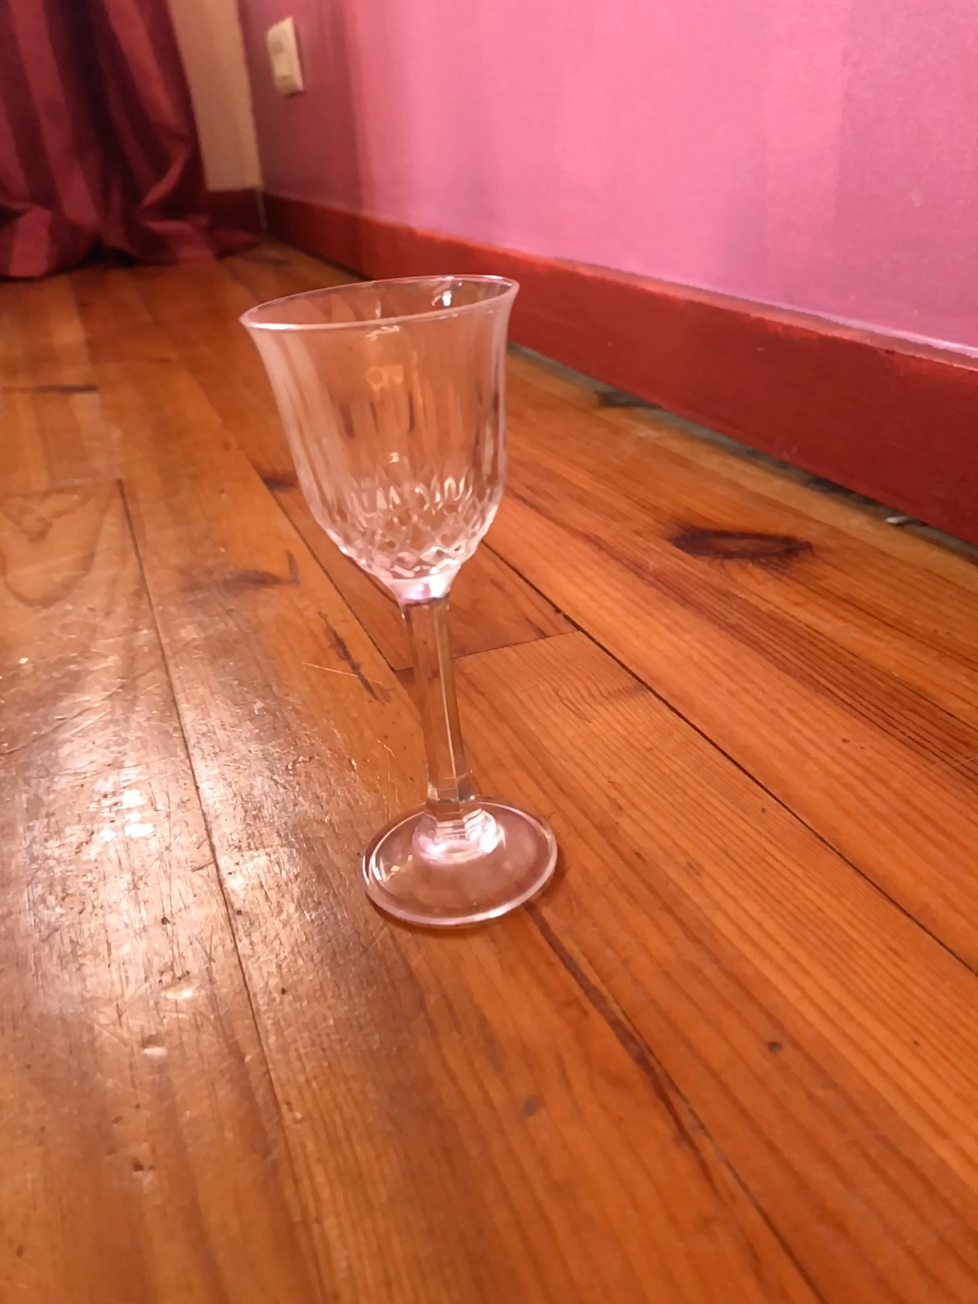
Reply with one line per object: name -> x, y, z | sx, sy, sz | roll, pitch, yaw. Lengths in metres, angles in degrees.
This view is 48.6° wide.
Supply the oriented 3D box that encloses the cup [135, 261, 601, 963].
cup -> -0.020, -0.012, 0.238 | 0.060, 0.133, 0.059 | -5, 26, 2
